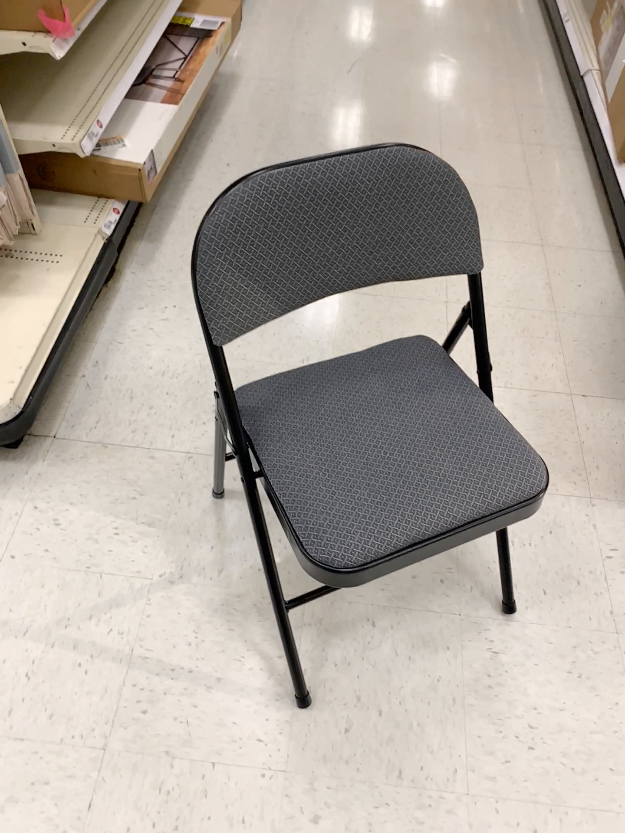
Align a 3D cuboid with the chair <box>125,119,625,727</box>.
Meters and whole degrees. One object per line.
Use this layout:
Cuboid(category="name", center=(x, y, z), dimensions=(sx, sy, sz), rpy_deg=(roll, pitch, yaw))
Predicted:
Cuboid(category="chair", center=(0.082, 0.031, 1.016), dimensions=(0.500, 0.677, 0.552), rpy_deg=(-18, 55, -16))
